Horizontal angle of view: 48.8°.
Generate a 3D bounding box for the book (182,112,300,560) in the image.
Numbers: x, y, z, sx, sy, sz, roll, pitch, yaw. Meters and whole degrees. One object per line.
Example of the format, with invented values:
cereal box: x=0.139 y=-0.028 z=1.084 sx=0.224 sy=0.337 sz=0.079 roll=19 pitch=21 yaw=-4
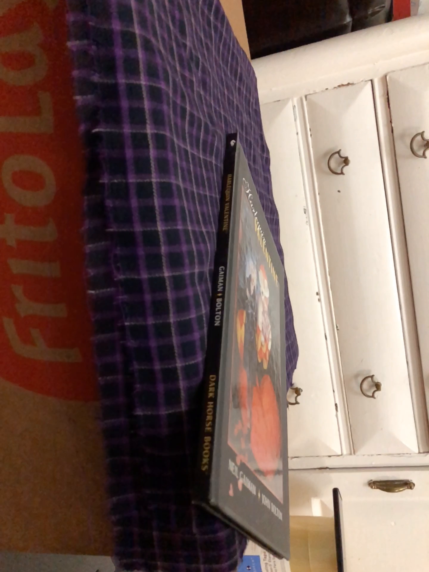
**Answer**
book: x=0.032 y=0.033 z=0.354 sx=0.180 sy=0.020 sz=0.281 roll=61 pitch=27 yaw=-50
